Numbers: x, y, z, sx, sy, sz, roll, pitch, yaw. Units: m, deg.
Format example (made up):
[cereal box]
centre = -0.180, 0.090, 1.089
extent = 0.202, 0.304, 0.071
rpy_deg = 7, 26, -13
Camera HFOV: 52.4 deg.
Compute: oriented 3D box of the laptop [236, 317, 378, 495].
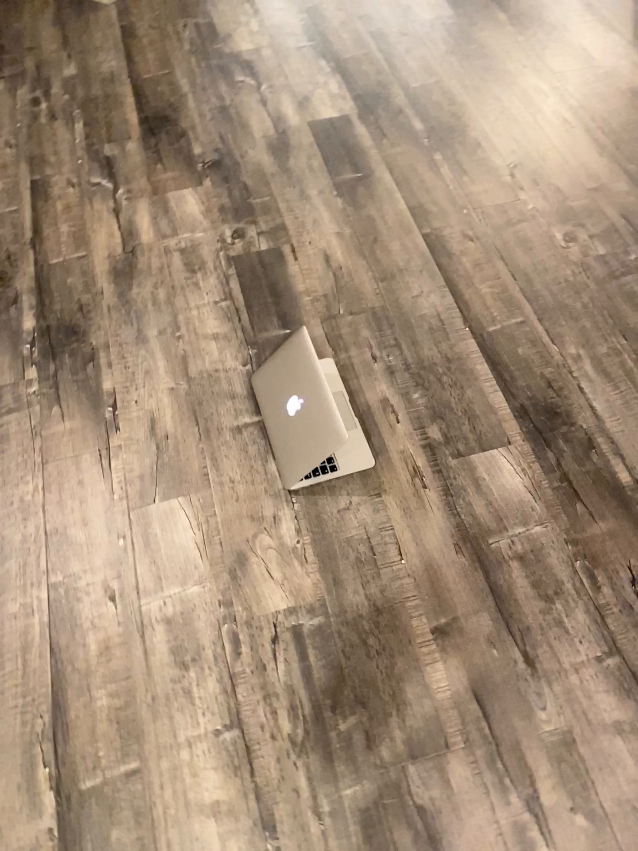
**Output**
[laptop]
centre = -0.029, -0.045, 1.314
extent = 0.193, 0.132, 0.293
rpy_deg = -17, 59, -8
